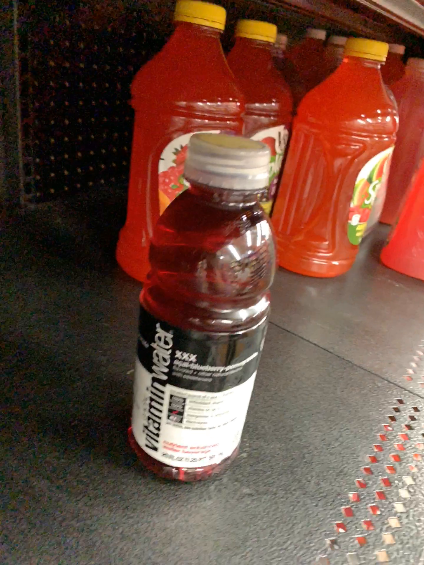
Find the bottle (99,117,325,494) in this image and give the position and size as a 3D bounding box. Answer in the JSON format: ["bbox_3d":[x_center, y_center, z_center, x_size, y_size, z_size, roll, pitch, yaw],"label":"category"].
[{"bbox_3d":[-0.005,0.015,0.243,0.080,0.179,0.080,8,29,-4],"label":"bottle"}]
